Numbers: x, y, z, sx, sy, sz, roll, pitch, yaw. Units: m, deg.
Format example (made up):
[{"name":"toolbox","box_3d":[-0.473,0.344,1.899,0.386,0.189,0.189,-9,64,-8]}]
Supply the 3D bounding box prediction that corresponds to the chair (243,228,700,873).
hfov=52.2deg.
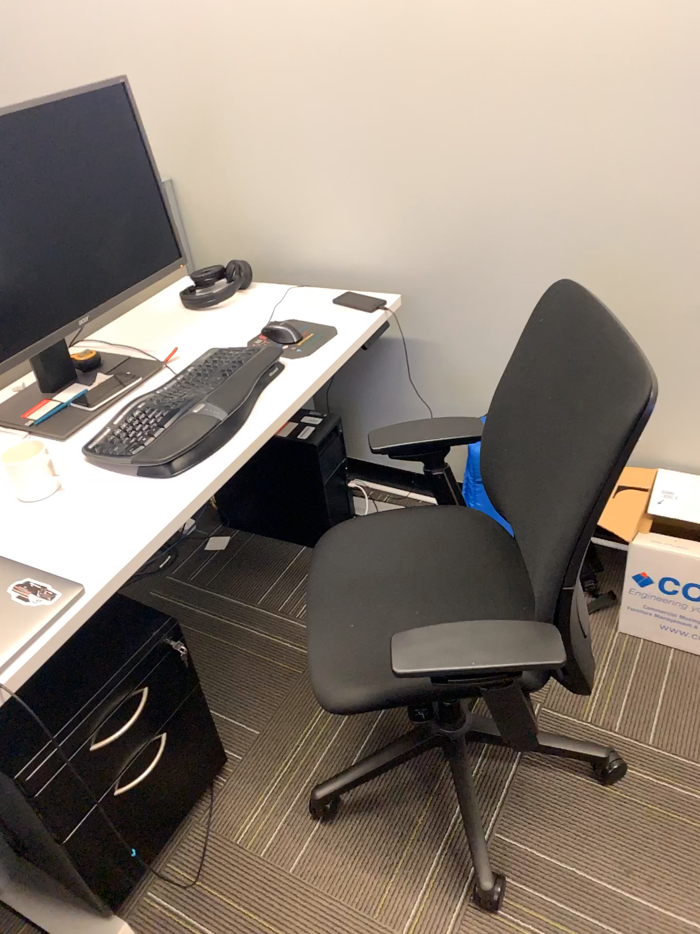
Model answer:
[{"name":"chair","box_3d":[0.170,0.139,1.502,0.610,0.944,0.835,-9,35,-2]}]
